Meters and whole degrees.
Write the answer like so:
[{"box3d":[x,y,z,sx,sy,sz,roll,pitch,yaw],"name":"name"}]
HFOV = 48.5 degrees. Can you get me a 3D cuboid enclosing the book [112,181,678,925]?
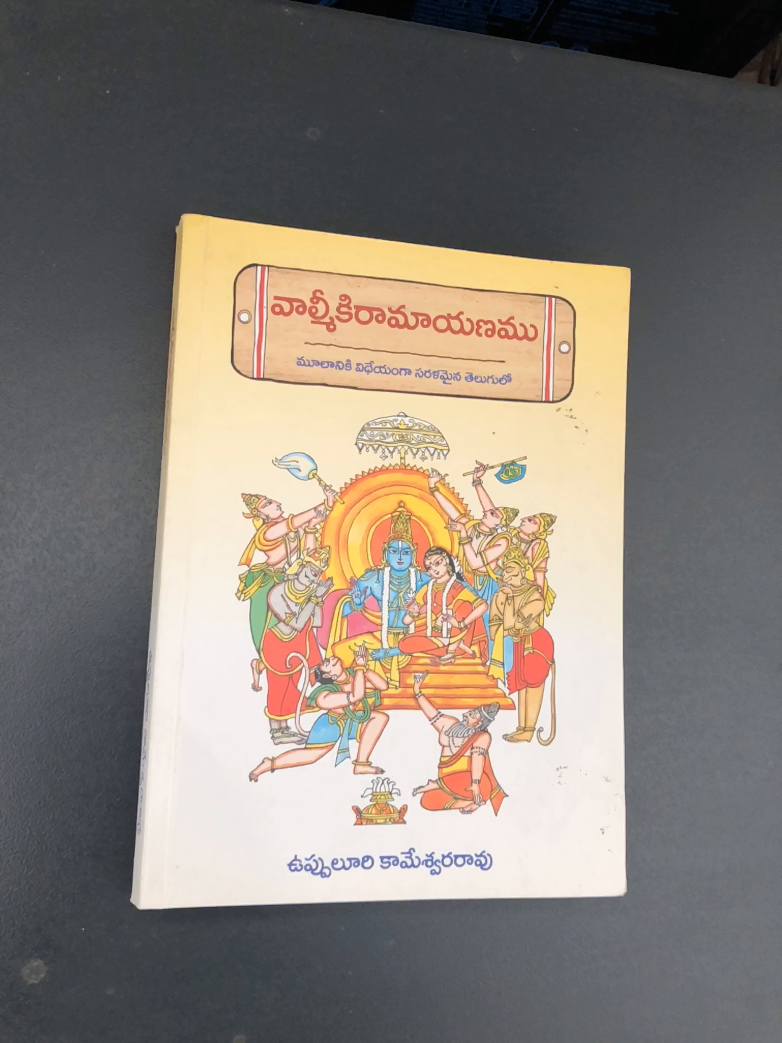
[{"box3d":[0.011,0.011,0.309,0.190,0.020,0.240,4,83,-12],"name":"book"}]
